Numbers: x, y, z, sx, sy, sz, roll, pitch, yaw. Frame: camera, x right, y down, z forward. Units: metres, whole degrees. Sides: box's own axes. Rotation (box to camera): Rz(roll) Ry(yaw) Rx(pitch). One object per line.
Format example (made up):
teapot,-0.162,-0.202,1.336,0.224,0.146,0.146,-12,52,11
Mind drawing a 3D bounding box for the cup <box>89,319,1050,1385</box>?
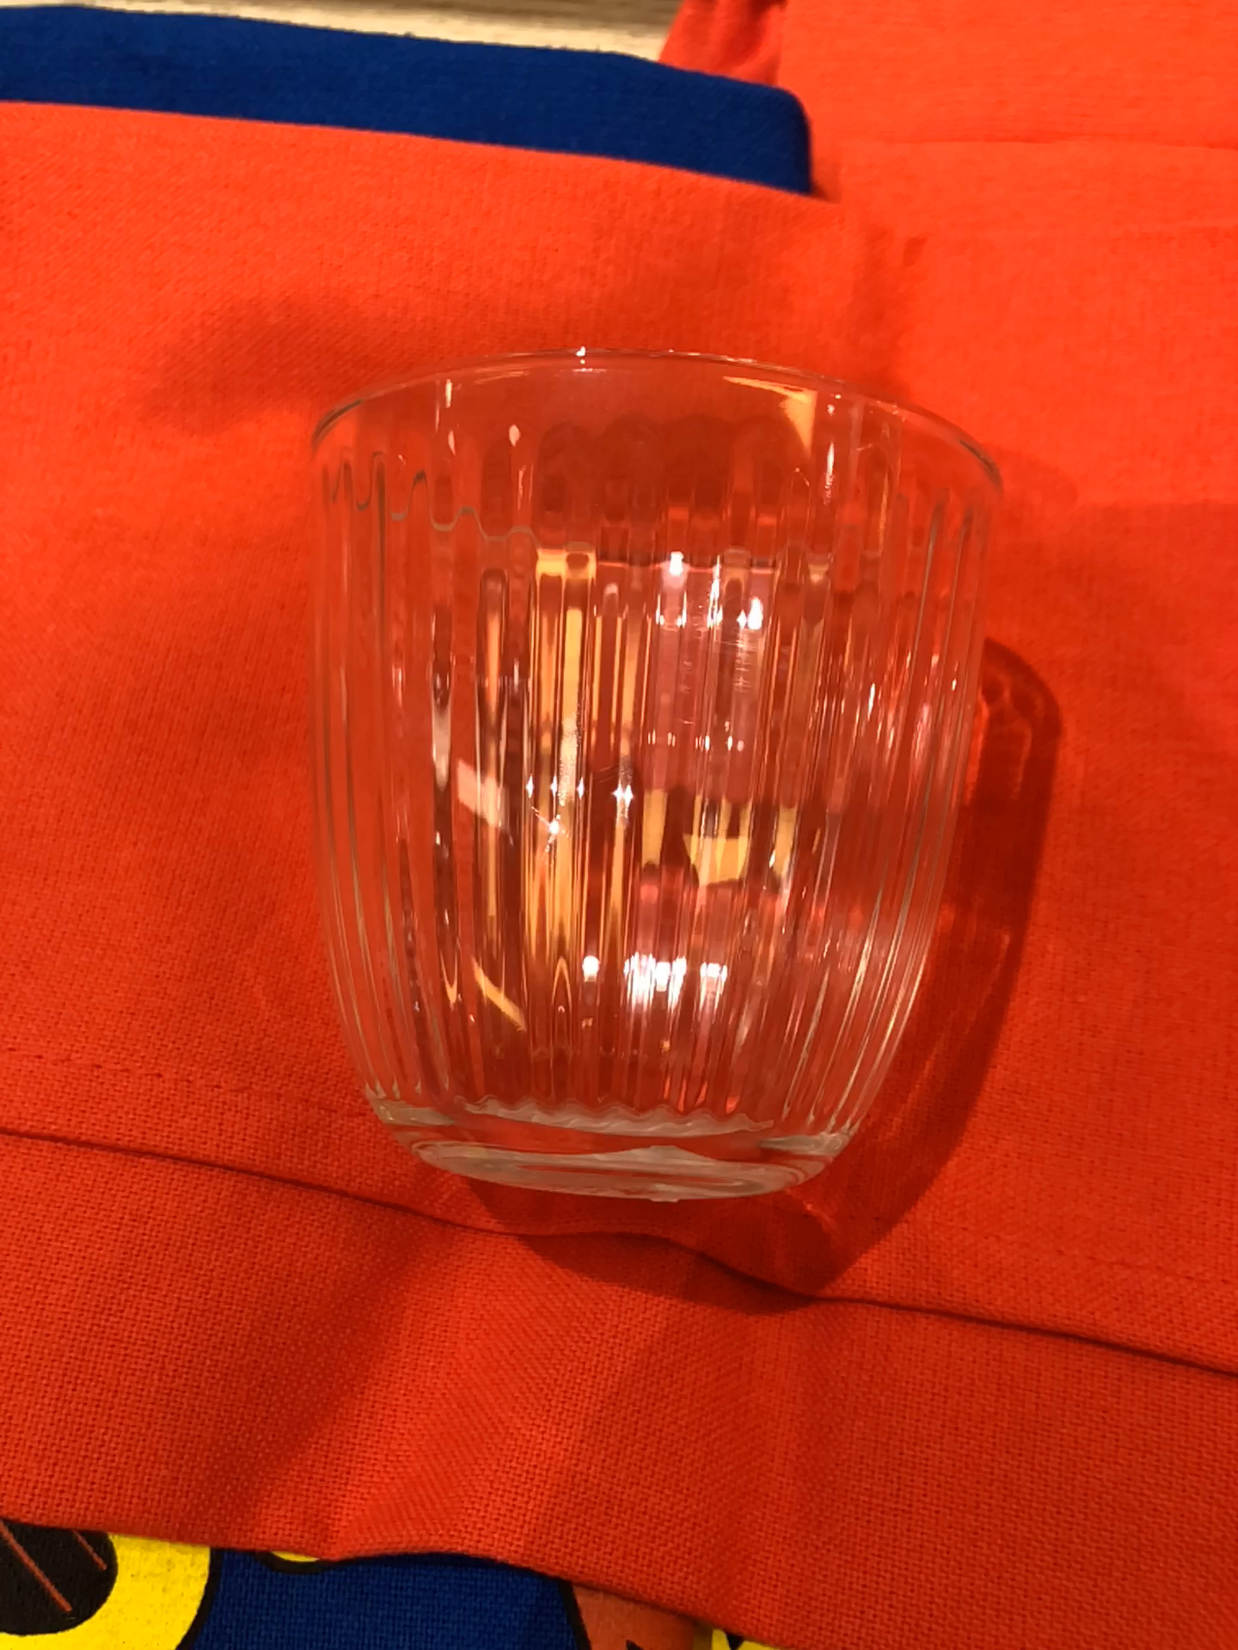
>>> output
cup,-0.003,0.002,0.156,0.080,0.060,0.090,5,88,5
